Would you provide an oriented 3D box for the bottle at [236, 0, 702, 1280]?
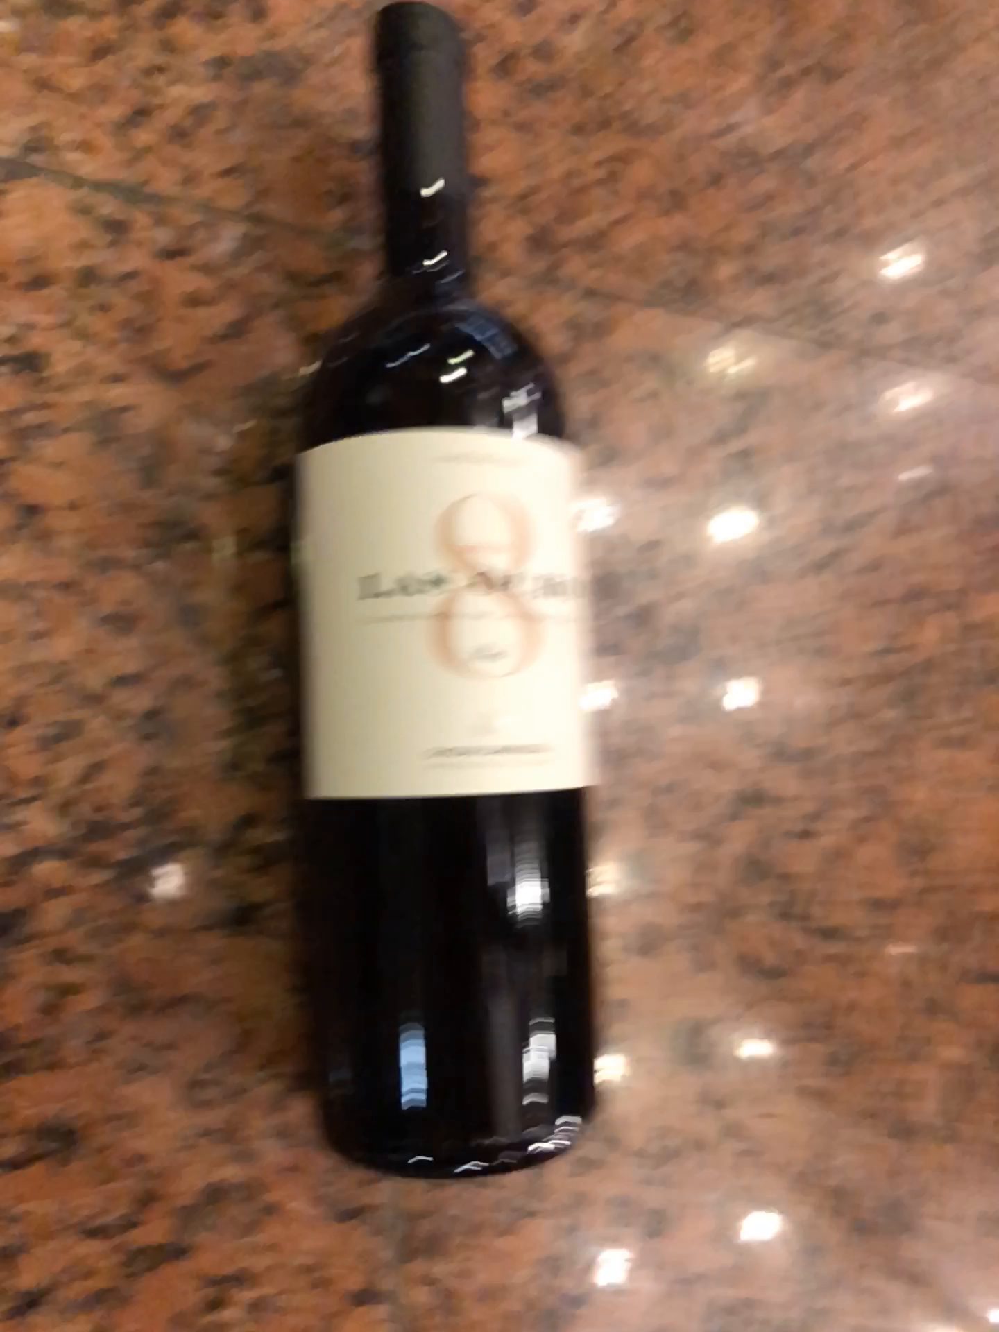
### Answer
[{"bbox_3d":[-0.012,-0.029,0.306,0.090,0.060,0.330,-1,85,-29],"label":"bottle"}]
